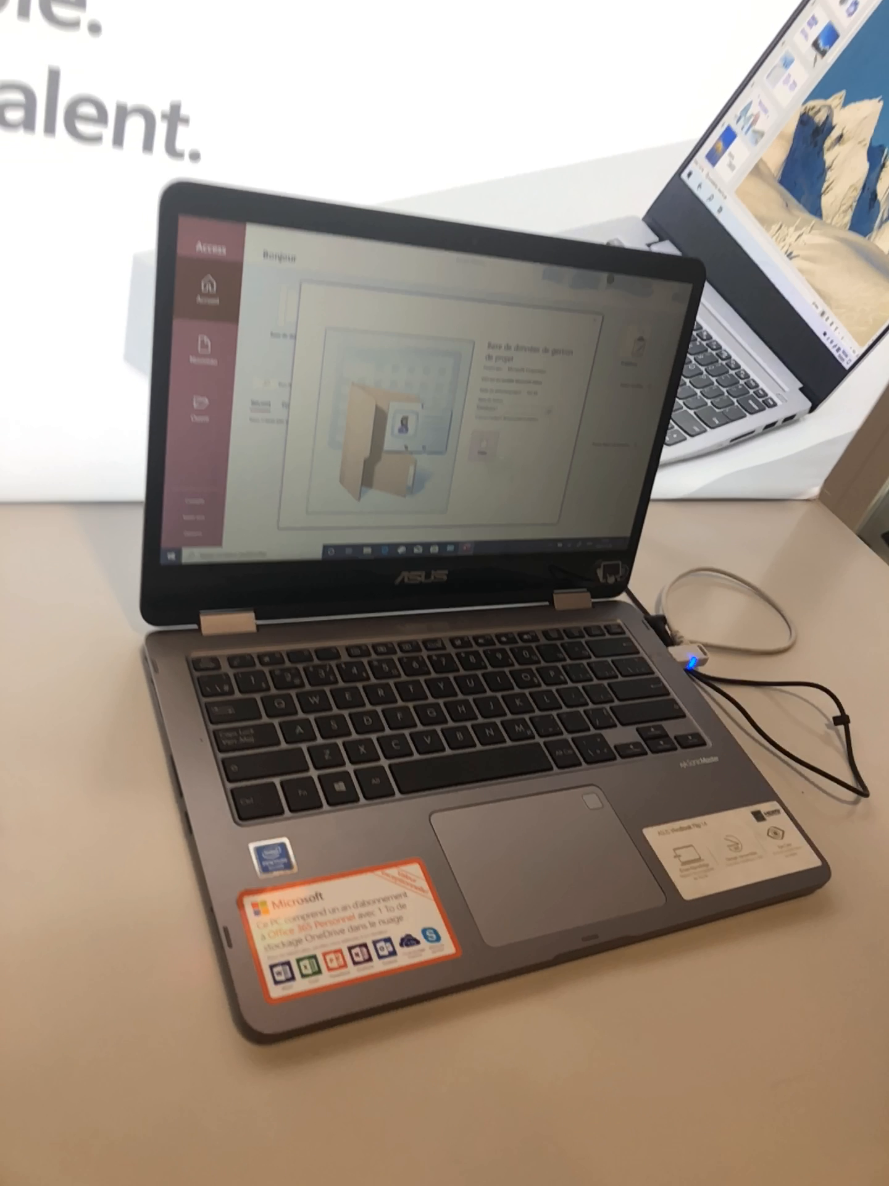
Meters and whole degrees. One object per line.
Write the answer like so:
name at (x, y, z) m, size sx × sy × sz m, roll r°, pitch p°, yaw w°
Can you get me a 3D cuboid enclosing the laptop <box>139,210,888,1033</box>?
laptop at (0.046, -0.010, 0.476) m, size 0.312 × 0.214 × 0.273 m, roll -3°, pitch 41°, yaw -29°
